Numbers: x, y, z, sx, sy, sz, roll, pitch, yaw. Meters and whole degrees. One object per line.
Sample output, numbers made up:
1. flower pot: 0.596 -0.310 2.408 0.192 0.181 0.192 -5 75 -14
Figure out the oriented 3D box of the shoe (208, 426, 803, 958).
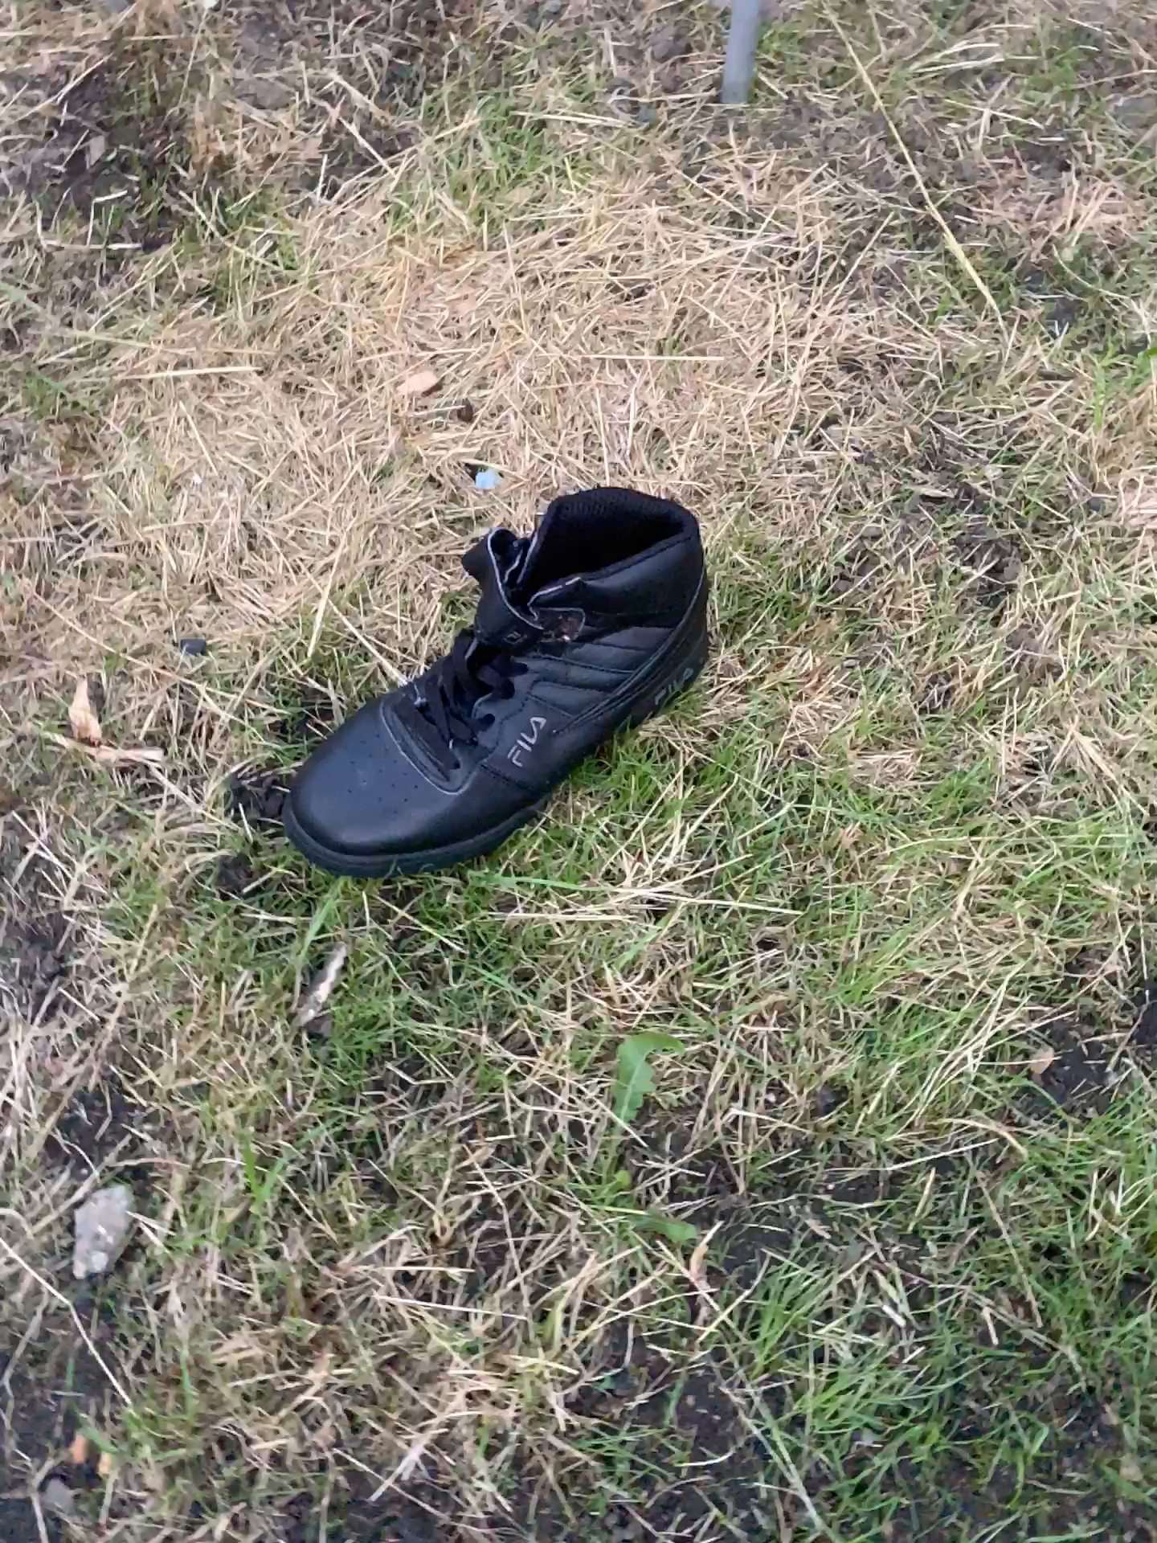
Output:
1. shoe: -0.032 -0.041 0.616 0.270 0.119 0.110 -35 72 -15
